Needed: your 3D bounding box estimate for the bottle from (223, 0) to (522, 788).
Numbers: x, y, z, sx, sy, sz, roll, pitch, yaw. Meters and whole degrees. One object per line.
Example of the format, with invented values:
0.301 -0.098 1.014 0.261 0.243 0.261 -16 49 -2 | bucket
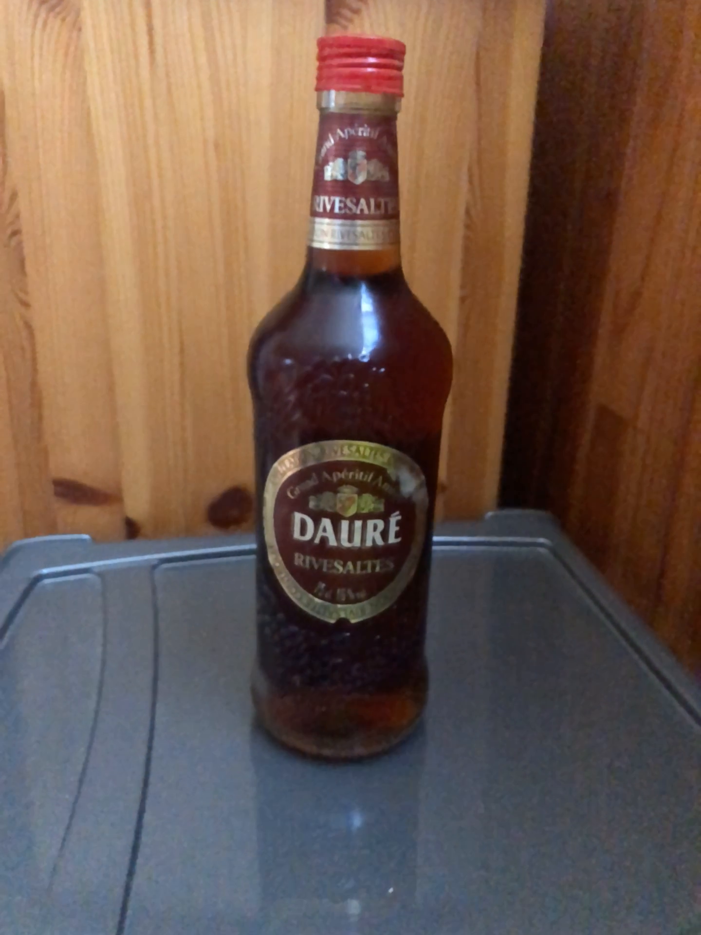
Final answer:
0.000 -0.016 0.330 0.090 0.298 0.090 2 21 -1 | bottle
